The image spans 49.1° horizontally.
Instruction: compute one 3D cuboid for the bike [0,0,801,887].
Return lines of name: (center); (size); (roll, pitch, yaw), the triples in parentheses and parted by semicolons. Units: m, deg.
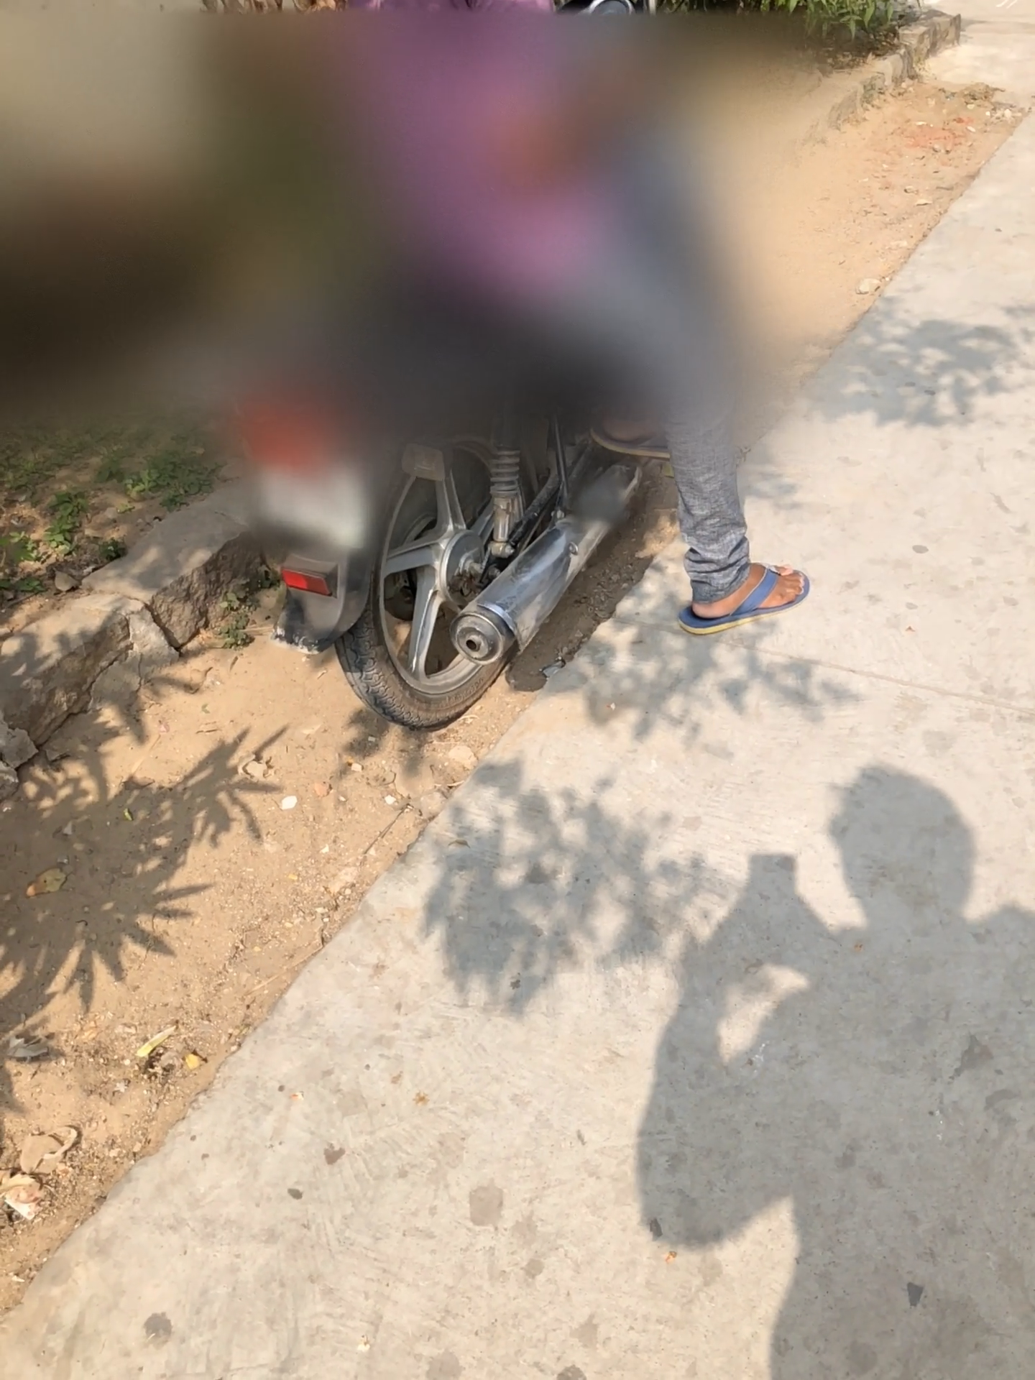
bike: (-0.013, -0.837, 2.356); (0.769, 1.294, 1.771); (12, 48, 20)
